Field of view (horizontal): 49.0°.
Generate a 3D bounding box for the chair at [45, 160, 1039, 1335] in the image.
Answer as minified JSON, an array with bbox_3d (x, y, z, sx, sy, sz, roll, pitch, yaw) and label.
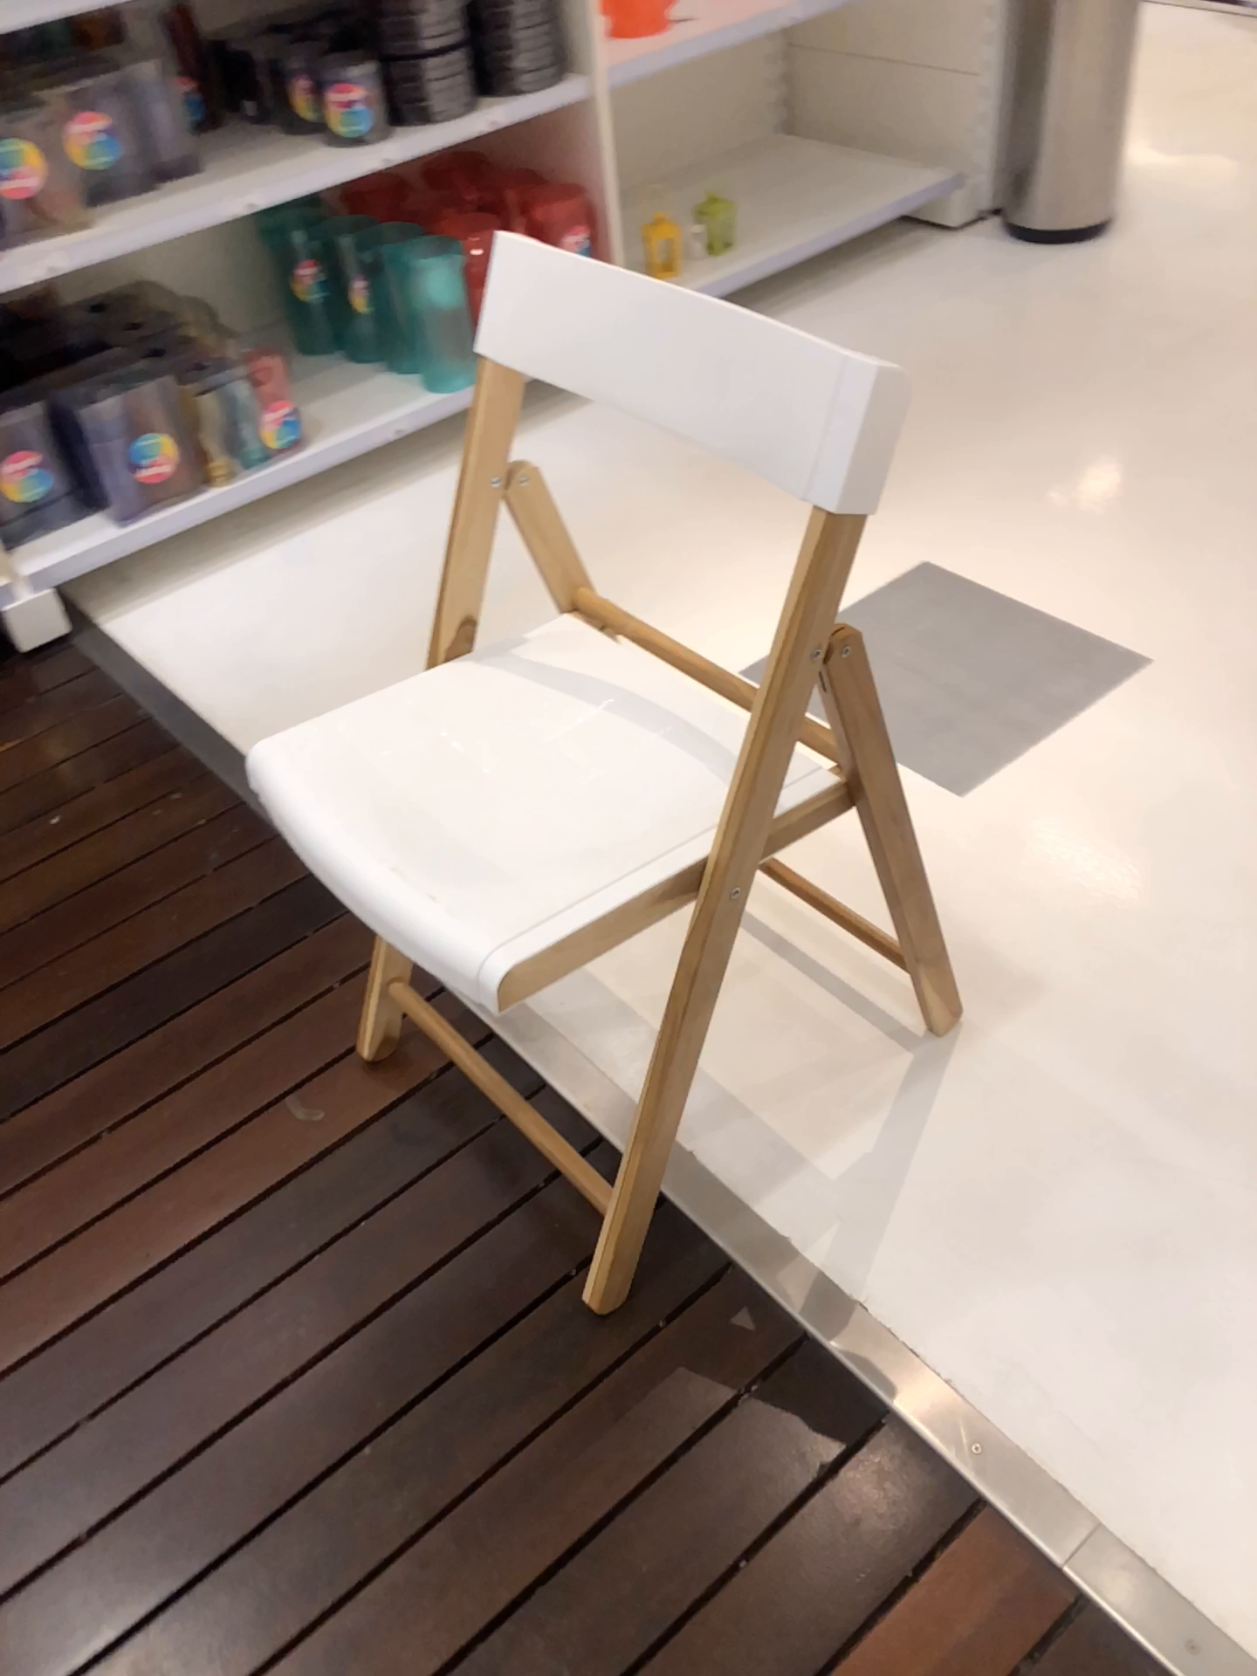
[{"bbox_3d":[-0.025,-0.077,1.192,0.511,0.734,0.473,-34,47,-22],"label":"chair"}]
